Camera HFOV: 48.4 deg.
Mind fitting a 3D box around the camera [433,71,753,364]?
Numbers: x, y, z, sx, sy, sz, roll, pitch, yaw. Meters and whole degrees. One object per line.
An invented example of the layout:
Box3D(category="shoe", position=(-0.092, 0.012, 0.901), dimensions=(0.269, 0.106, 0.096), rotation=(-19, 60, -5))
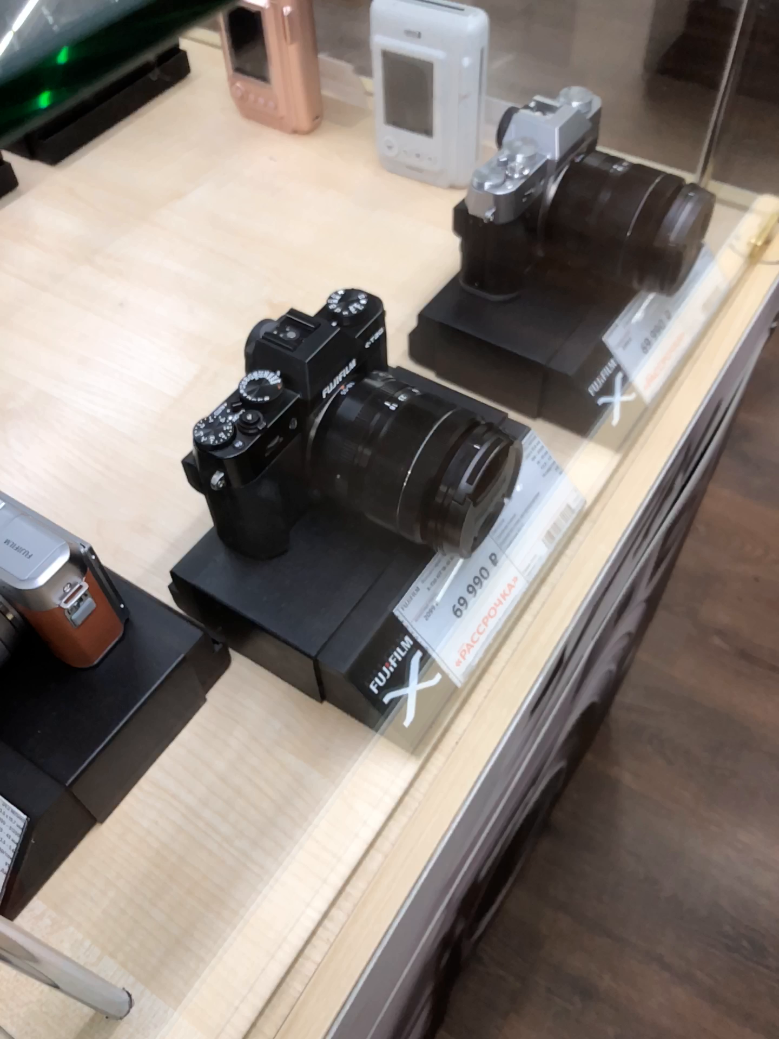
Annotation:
Box3D(category="camera", position=(0.111, -0.174, 0.488), dimensions=(0.124, 0.072, 0.130), rotation=(26, 58, 20))

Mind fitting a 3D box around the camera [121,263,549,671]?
Box3D(category="camera", position=(-0.020, -0.029, 0.389), dimensions=(0.130, 0.080, 0.122), rotation=(28, 59, 22))

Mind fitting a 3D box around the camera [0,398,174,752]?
Box3D(category="camera", position=(-0.164, 0.019, 0.346), dimensions=(0.122, 0.064, 0.075), rotation=(26, 58, 20))
